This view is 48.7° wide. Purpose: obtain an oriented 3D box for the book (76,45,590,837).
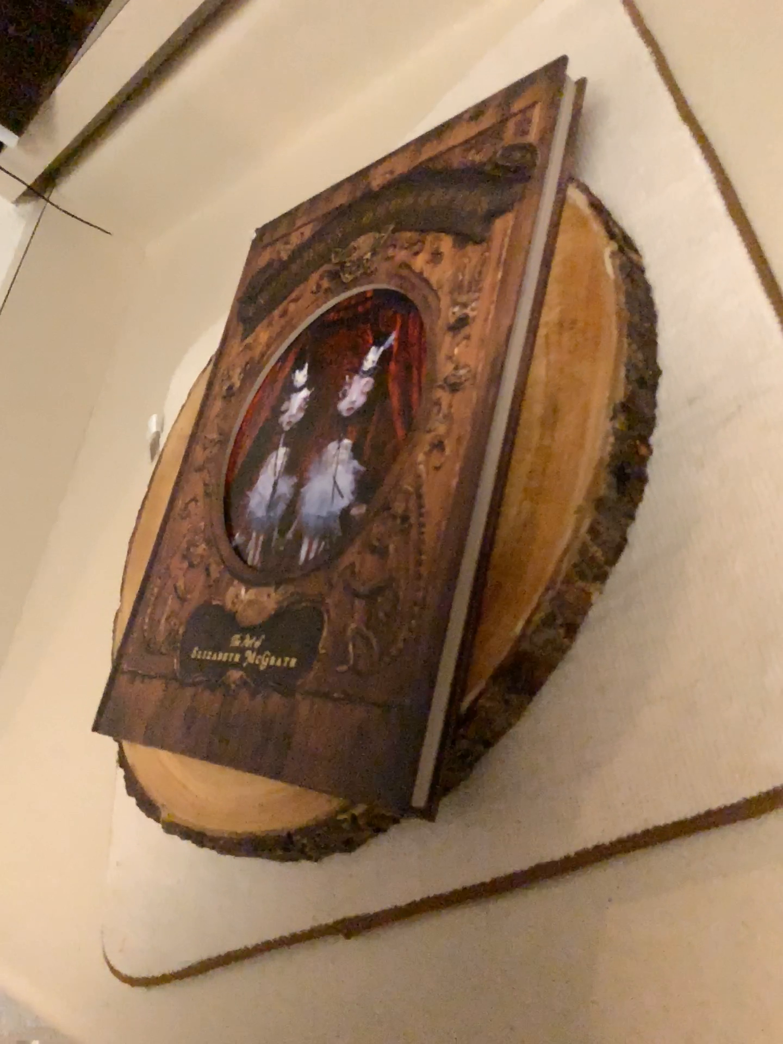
[{"bbox_3d":[-0.036,-0.040,0.398,0.230,0.020,0.310,-6,64,47],"label":"book"}]
